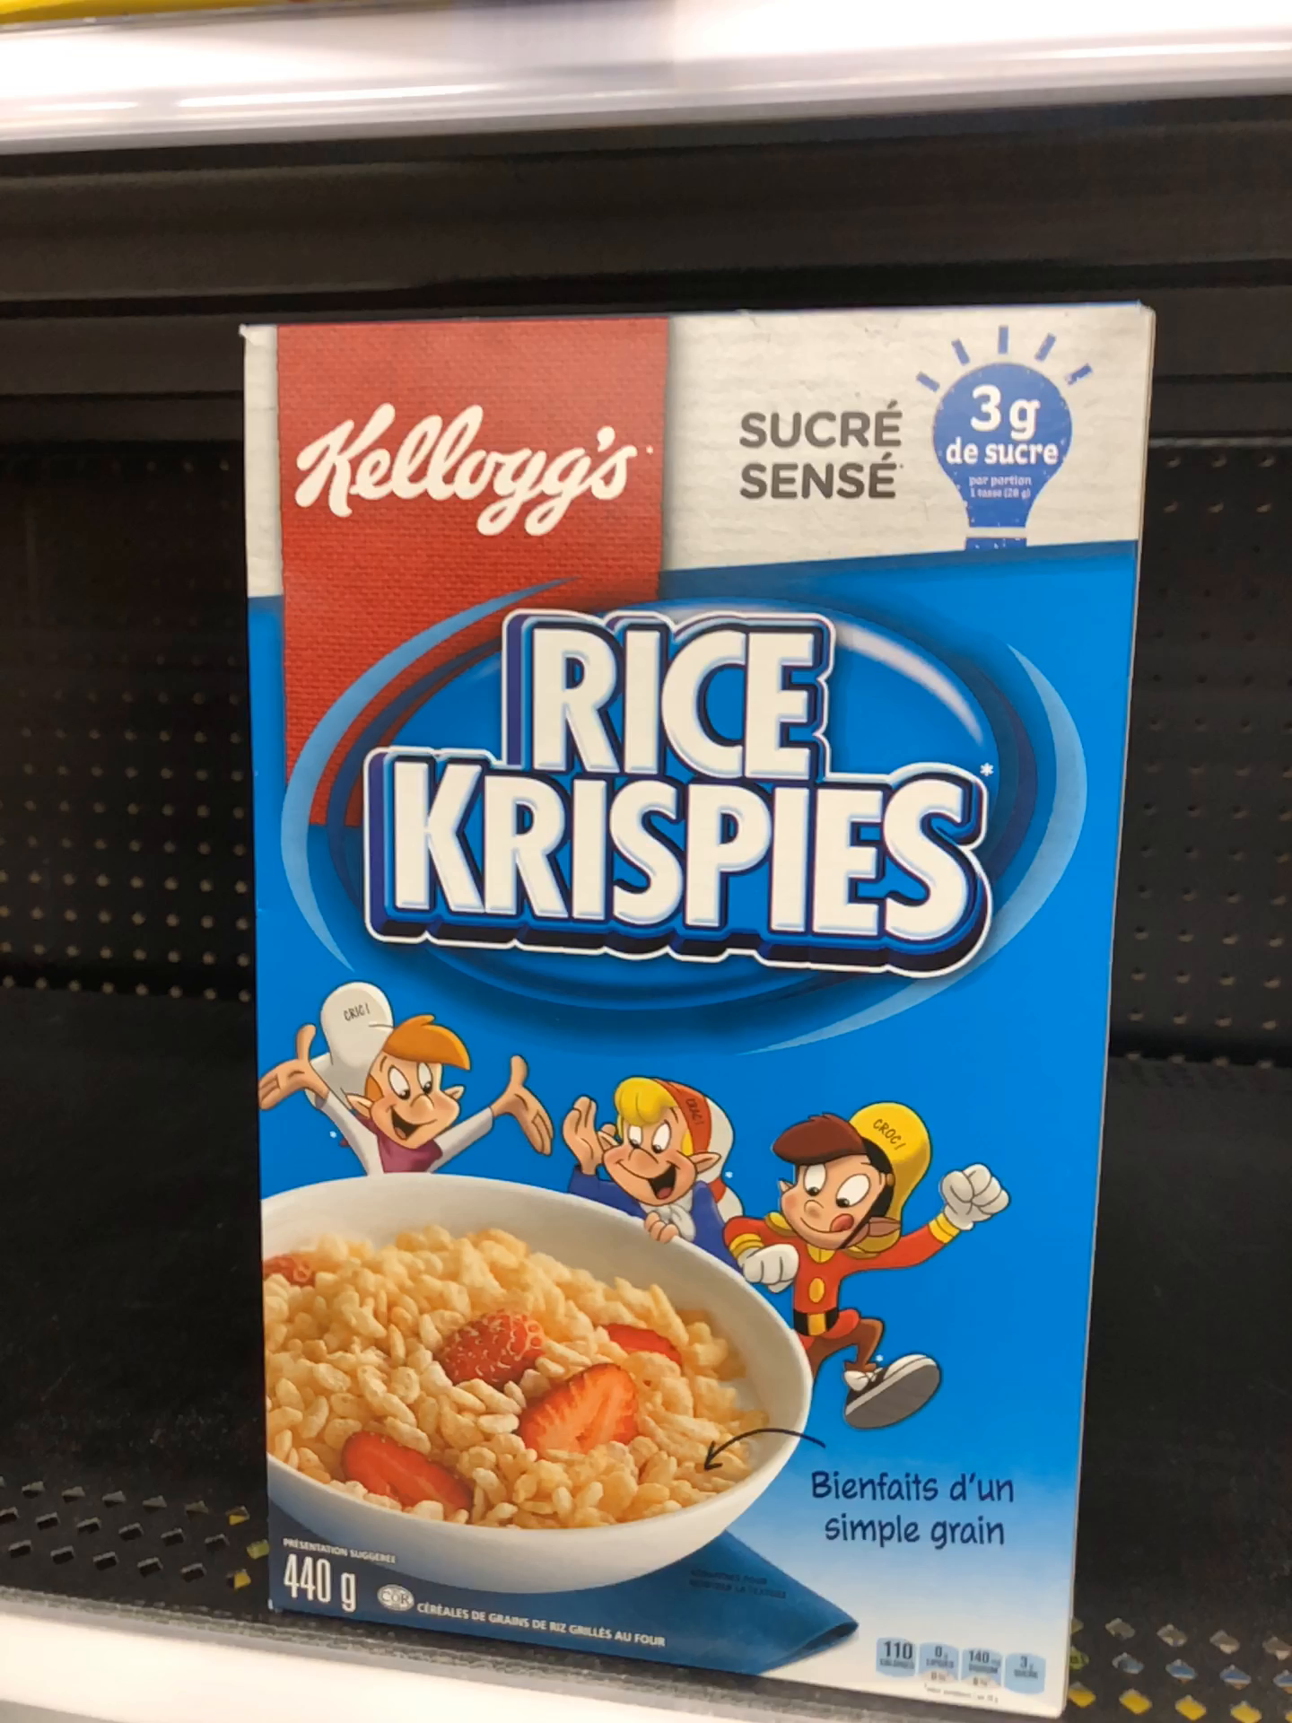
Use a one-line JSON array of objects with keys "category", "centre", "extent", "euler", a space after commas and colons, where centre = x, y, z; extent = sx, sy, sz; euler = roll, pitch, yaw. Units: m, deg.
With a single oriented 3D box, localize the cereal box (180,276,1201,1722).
[{"category": "cereal box", "centre": [0.008, 0.032, 0.337], "extent": [0.200, 0.299, 0.080], "euler": [2, 8, 11]}]
